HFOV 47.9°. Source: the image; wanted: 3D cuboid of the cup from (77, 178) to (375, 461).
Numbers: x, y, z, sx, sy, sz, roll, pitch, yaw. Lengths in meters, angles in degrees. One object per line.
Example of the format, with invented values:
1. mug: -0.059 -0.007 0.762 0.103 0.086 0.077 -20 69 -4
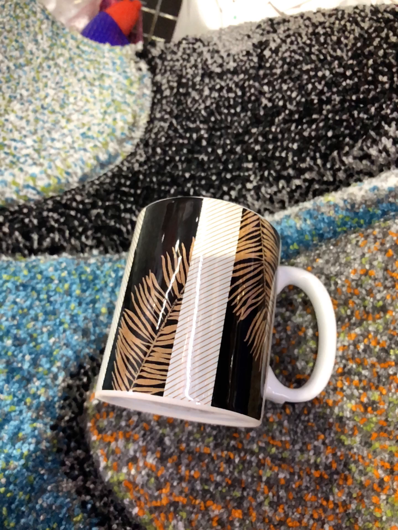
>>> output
1. cup: 0.013 0.032 0.222 0.120 0.070 0.100 13 68 -12
